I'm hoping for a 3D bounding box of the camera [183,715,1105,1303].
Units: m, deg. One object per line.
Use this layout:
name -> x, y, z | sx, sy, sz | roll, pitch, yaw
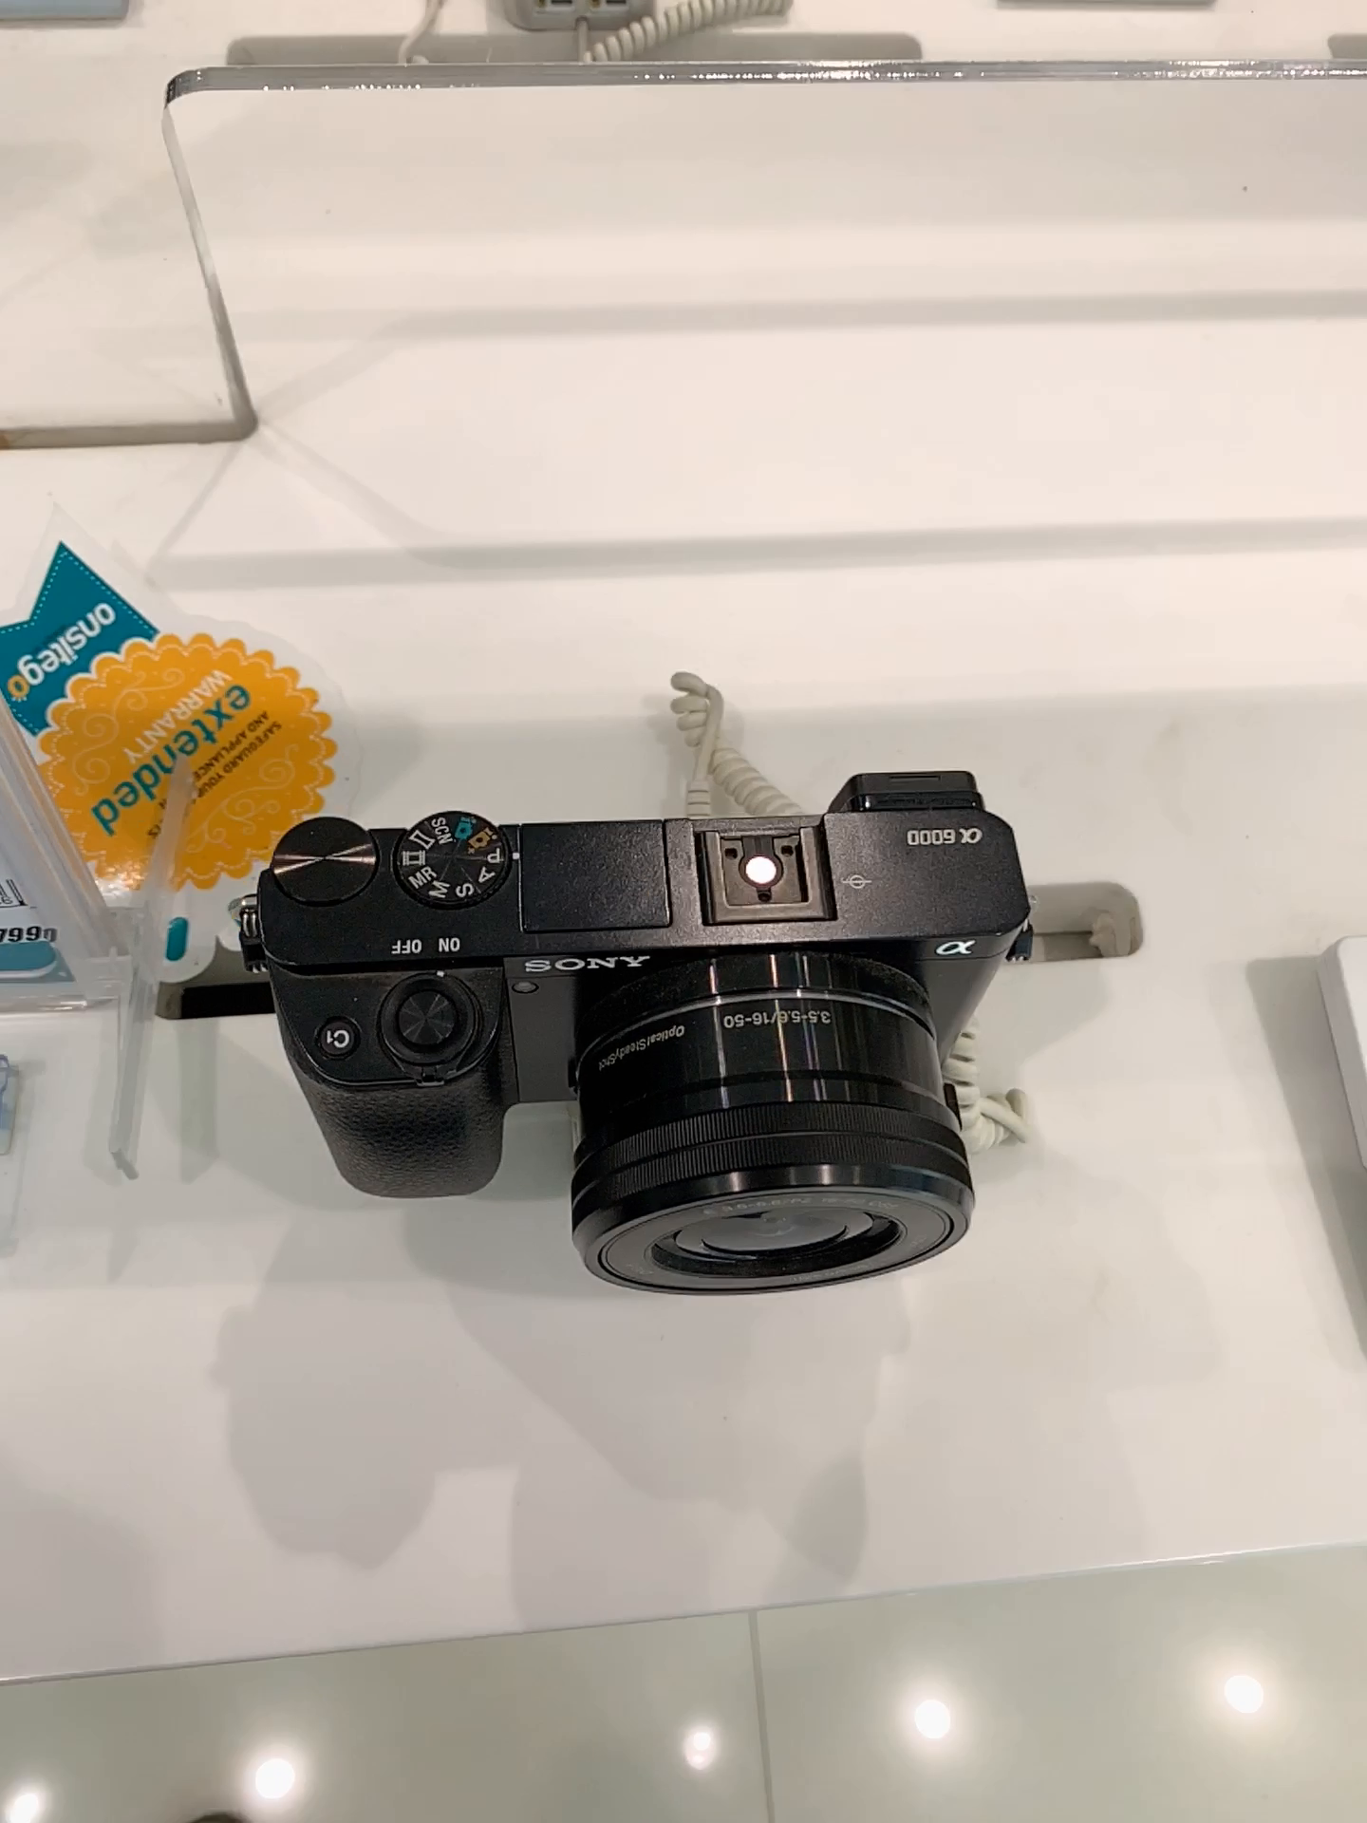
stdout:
camera -> -0.007, 0.016, 0.200 | 0.104, 0.063, 0.058 | -3, 64, -5
